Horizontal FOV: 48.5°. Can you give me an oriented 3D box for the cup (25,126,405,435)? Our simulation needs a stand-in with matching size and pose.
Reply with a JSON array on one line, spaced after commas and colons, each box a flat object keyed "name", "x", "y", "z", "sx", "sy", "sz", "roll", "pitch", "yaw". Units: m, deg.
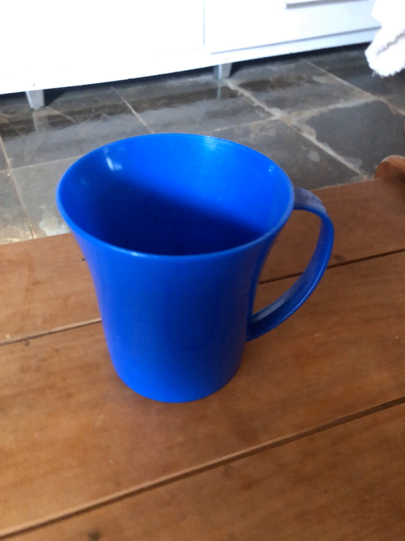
[{"name": "cup", "x": 0.001, "y": 0.002, "z": 0.211, "sx": 0.120, "sy": 0.099, "sz": 0.101, "roll": -2, "pitch": 42, "yaw": -4}]
